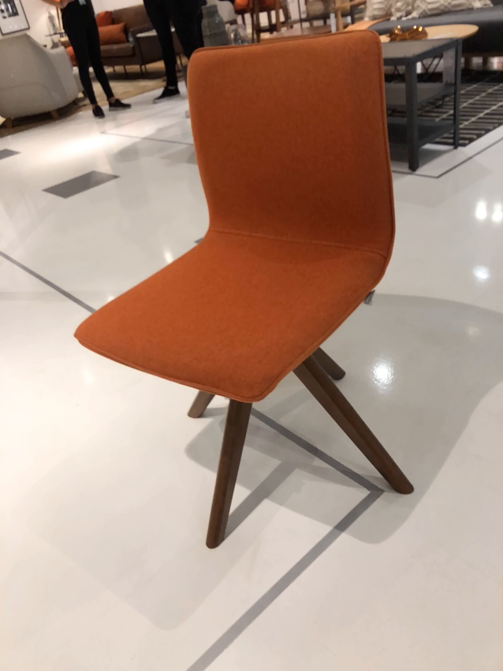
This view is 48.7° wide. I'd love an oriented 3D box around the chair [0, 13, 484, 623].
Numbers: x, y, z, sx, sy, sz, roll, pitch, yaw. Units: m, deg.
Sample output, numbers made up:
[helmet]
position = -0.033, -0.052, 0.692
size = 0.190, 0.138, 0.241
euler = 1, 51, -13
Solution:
[chair]
position = 0.017, -0.080, 1.073
size = 0.612, 0.794, 0.613
euler = 15, 41, 36
